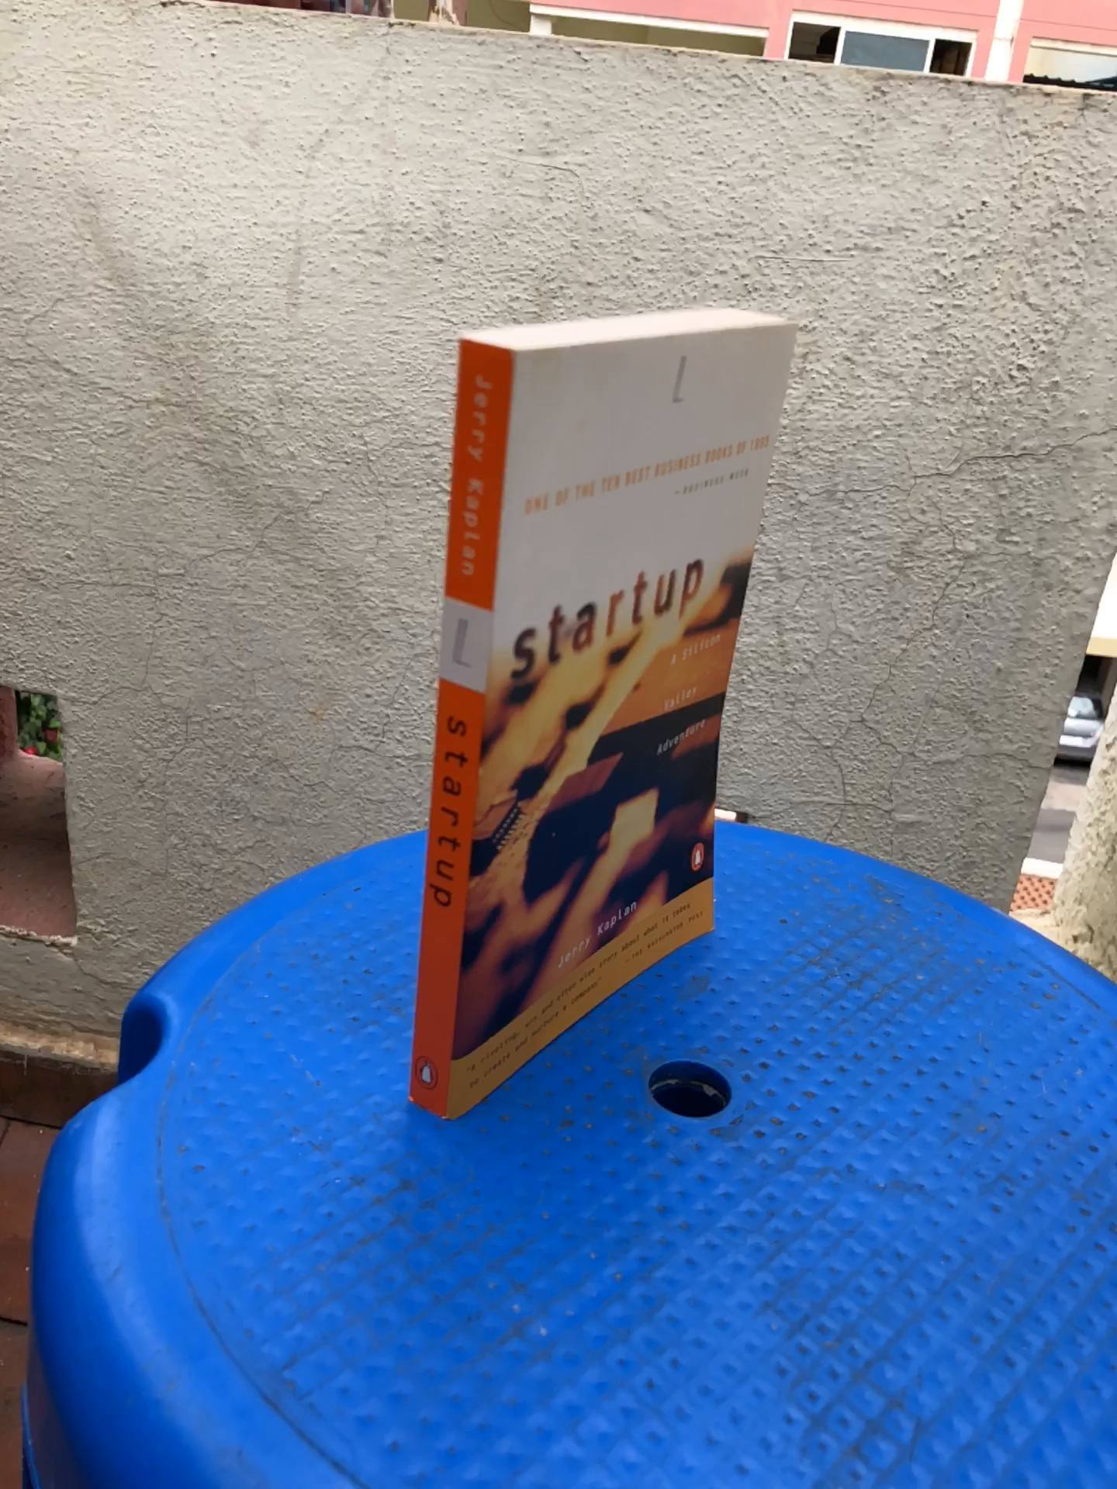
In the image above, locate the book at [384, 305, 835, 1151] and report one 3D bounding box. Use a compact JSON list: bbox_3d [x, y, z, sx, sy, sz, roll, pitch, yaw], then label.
[{"bbox_3d":[0.015,-0.011,0.337,0.030,0.199,0.141,21,28,28],"label":"book"}]
